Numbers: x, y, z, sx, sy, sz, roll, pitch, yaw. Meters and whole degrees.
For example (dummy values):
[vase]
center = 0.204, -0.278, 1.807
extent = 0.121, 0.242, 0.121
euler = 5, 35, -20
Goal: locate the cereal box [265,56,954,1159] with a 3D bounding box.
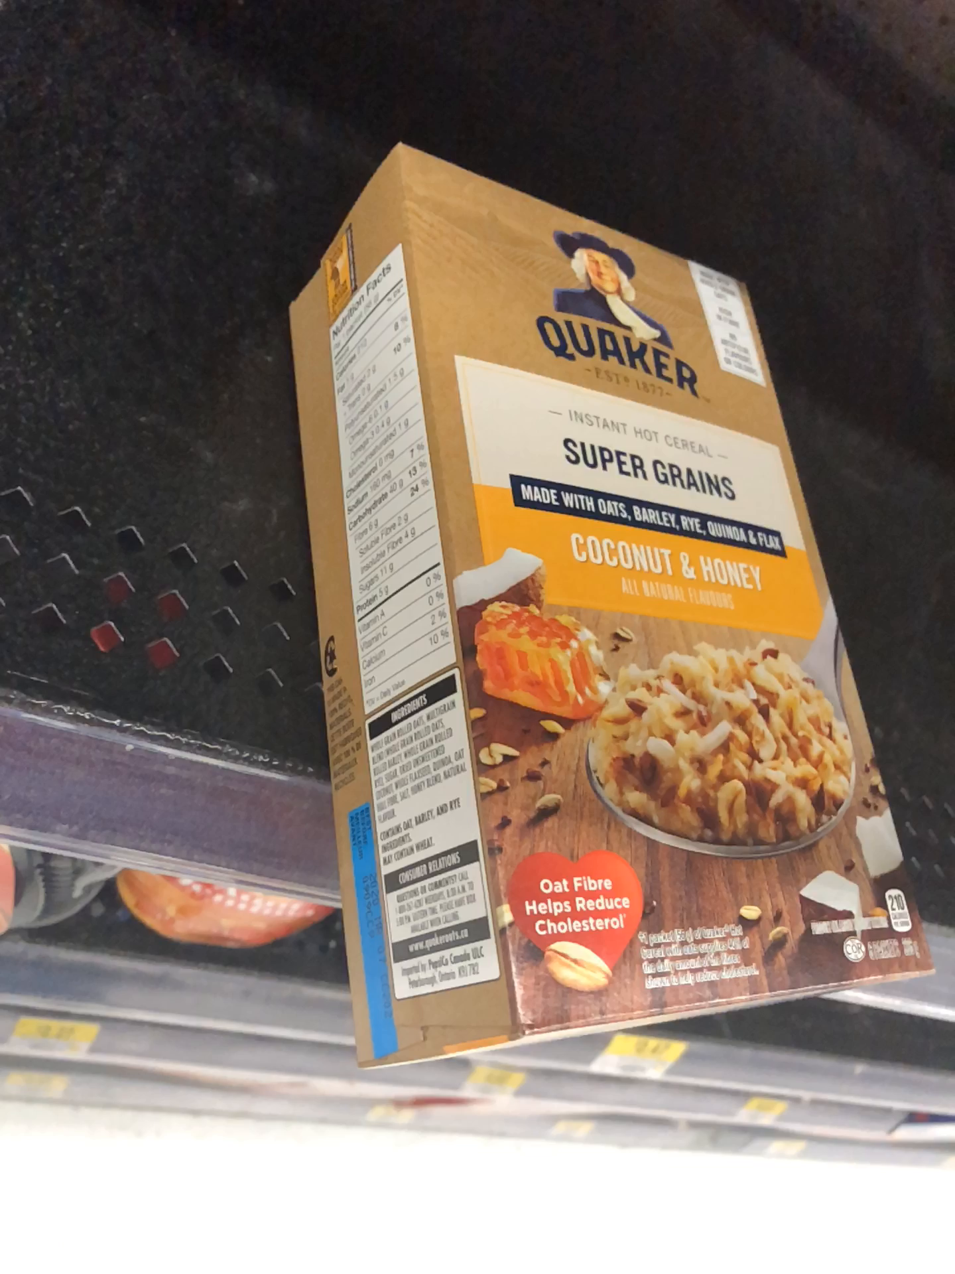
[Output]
[cereal box]
center = 0.031, -0.010, 0.264
extent = 0.141, 0.060, 0.230
euler = 8, 62, -33
